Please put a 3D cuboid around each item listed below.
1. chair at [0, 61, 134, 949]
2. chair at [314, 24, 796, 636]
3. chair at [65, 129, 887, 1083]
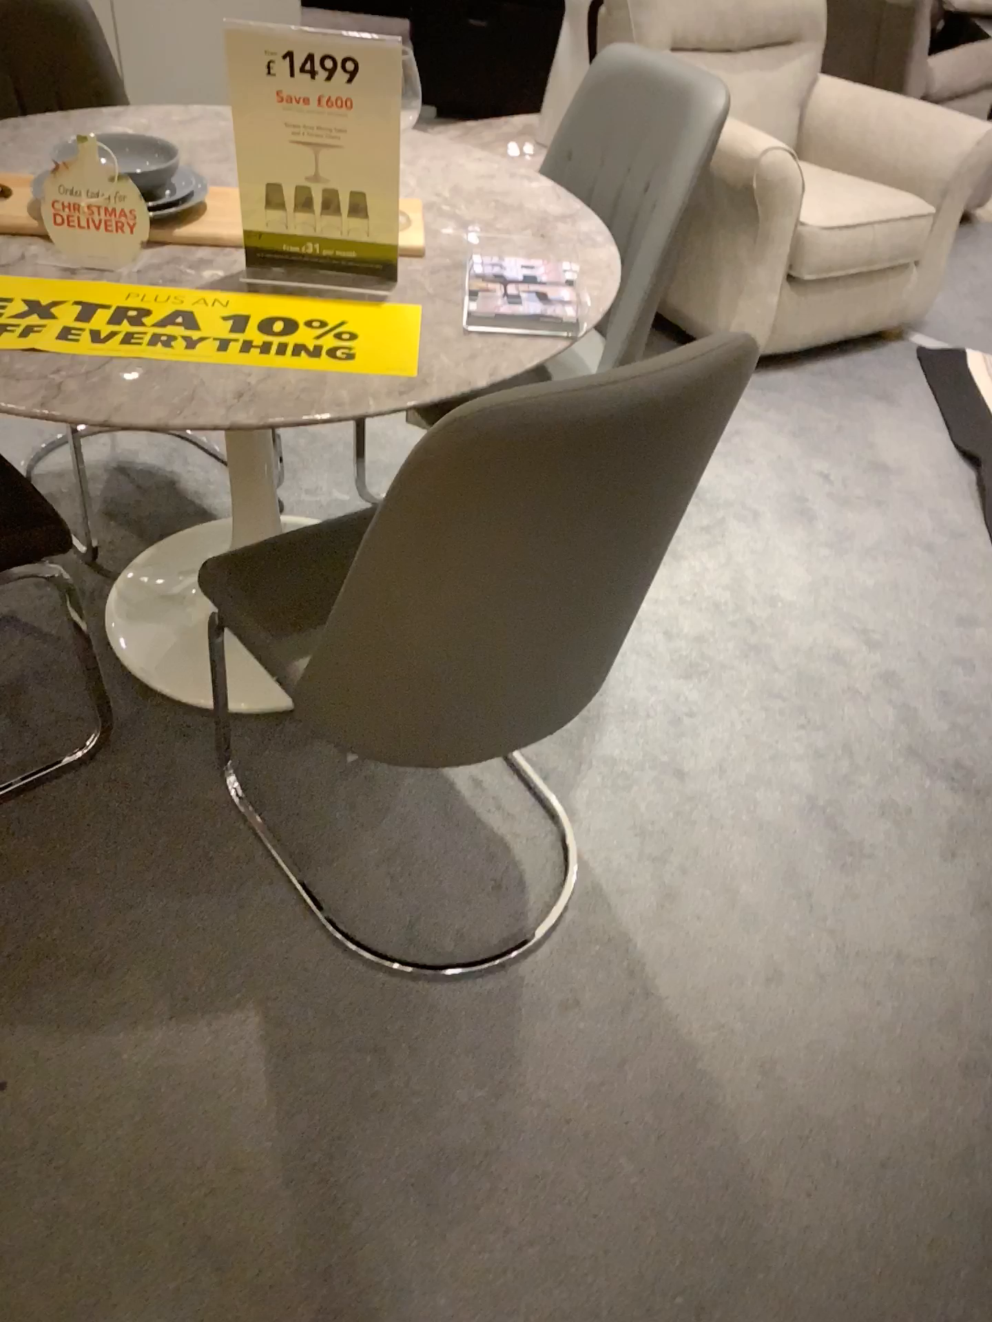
[{"bbox_3d":[-0.945,-0.207,1.333,0.581,0.883,0.523,-28,52,-33],"label":"chair"},{"bbox_3d":[0.053,-0.622,1.900,0.580,0.883,0.524,-20,47,-26],"label":"chair"},{"bbox_3d":[-0.078,-0.080,1.275,0.552,0.883,0.632,-21,48,-27],"label":"chair"}]
